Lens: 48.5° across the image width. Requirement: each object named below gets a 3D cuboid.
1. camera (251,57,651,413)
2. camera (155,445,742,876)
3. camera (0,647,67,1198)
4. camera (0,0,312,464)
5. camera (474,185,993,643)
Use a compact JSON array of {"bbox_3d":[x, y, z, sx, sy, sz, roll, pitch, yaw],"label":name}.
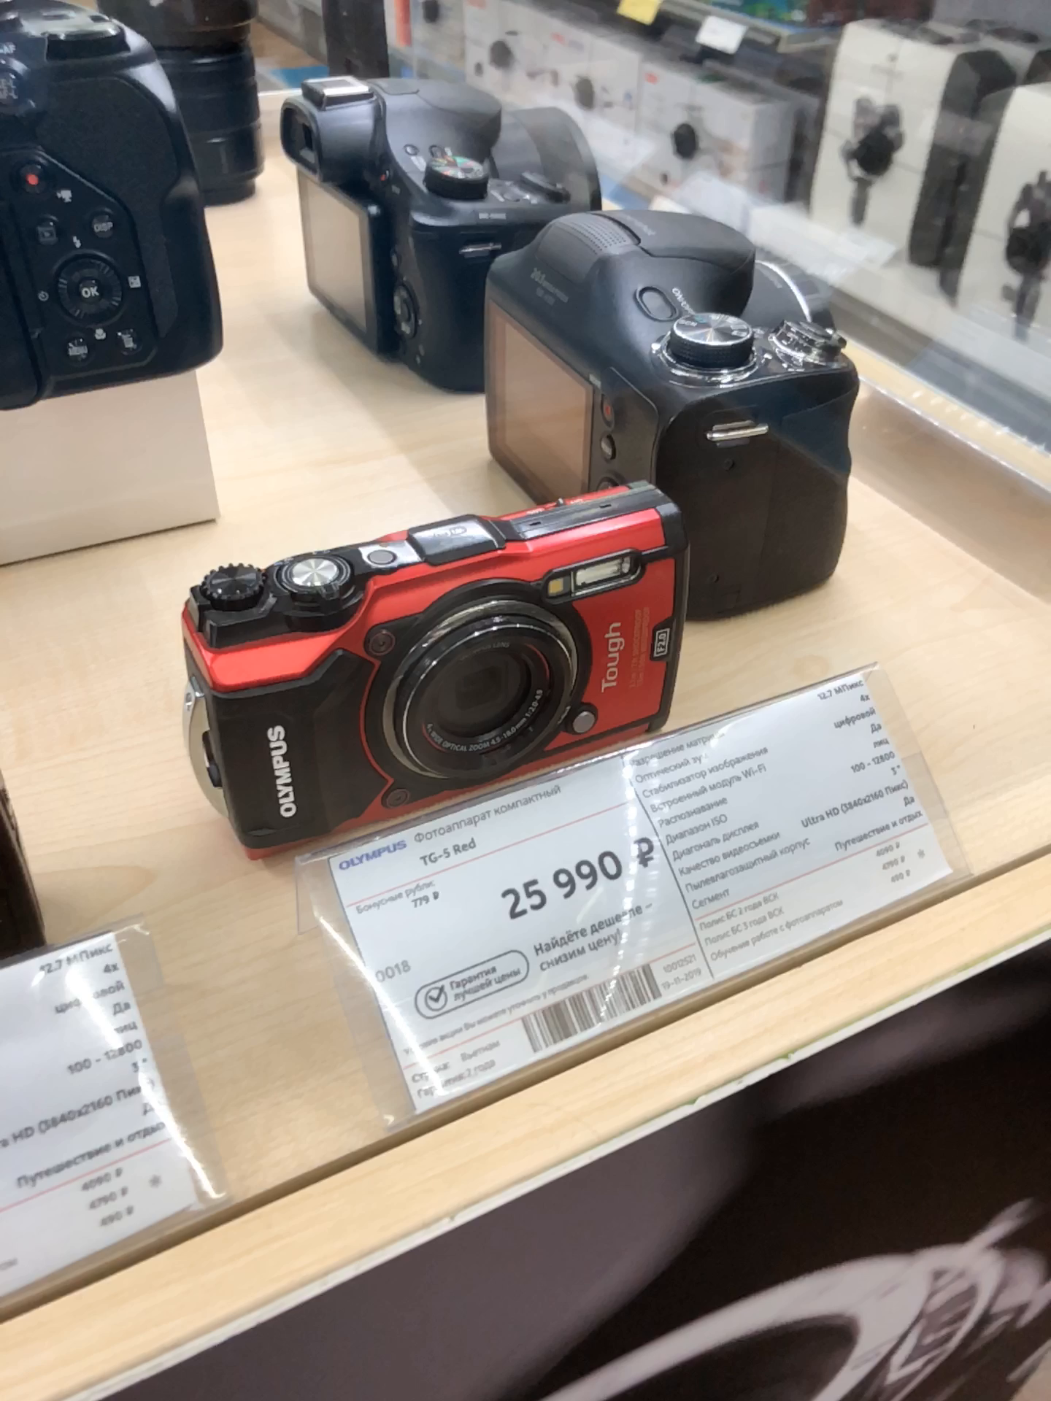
[{"bbox_3d":[-0.036,-0.202,0.488,0.102,0.086,0.159,-17,43,-21],"label":"camera"},{"bbox_3d":[-0.014,-0.011,0.260,0.119,0.061,0.030,-17,42,-21],"label":"camera"},{"bbox_3d":[-0.154,0.038,0.213,0.117,0.061,0.030,-17,42,-21],"label":"camera"},{"bbox_3d":[-0.150,-0.143,0.306,0.147,0.086,0.127,-16,42,-20],"label":"camera"},{"bbox_3d":[0.052,-0.092,0.348,0.094,0.078,0.117,-16,42,-20],"label":"camera"}]
